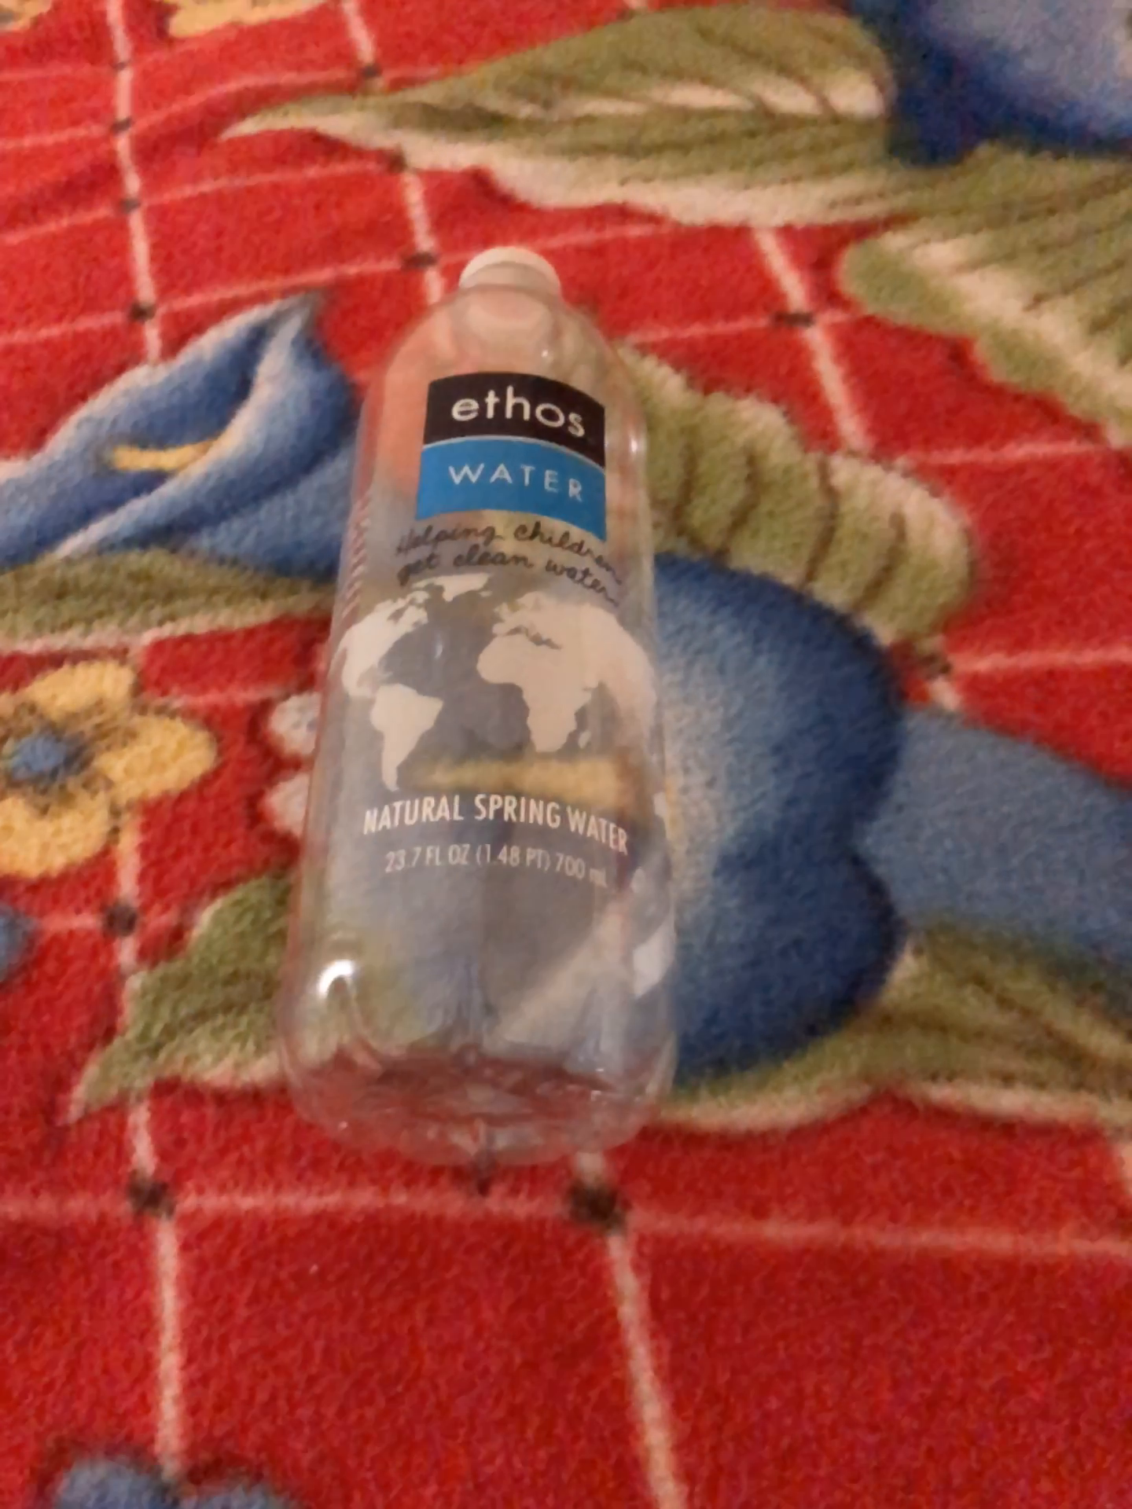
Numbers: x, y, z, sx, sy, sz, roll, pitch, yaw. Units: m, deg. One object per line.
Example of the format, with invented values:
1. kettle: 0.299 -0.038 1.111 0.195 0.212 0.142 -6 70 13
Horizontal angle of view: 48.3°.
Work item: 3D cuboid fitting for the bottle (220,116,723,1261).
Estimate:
1. bottle: -0.019 -0.027 0.268 0.070 0.070 0.240 5 58 -9
